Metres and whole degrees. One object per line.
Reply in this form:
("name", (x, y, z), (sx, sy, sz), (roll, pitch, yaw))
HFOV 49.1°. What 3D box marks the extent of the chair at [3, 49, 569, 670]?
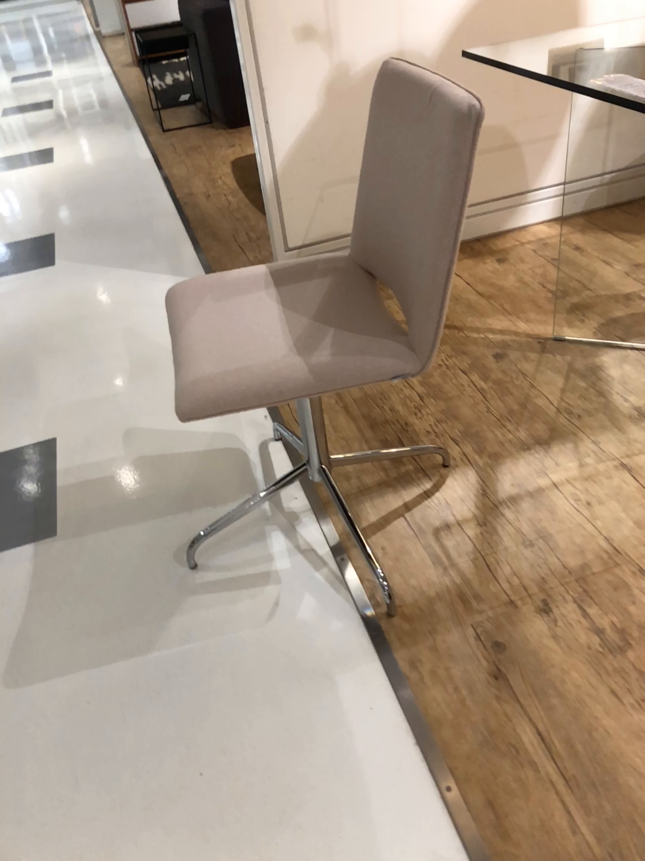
("chair", (-0.056, -0.161, 1.241), (0.630, 0.744, 0.655), (-14, 36, -7))
